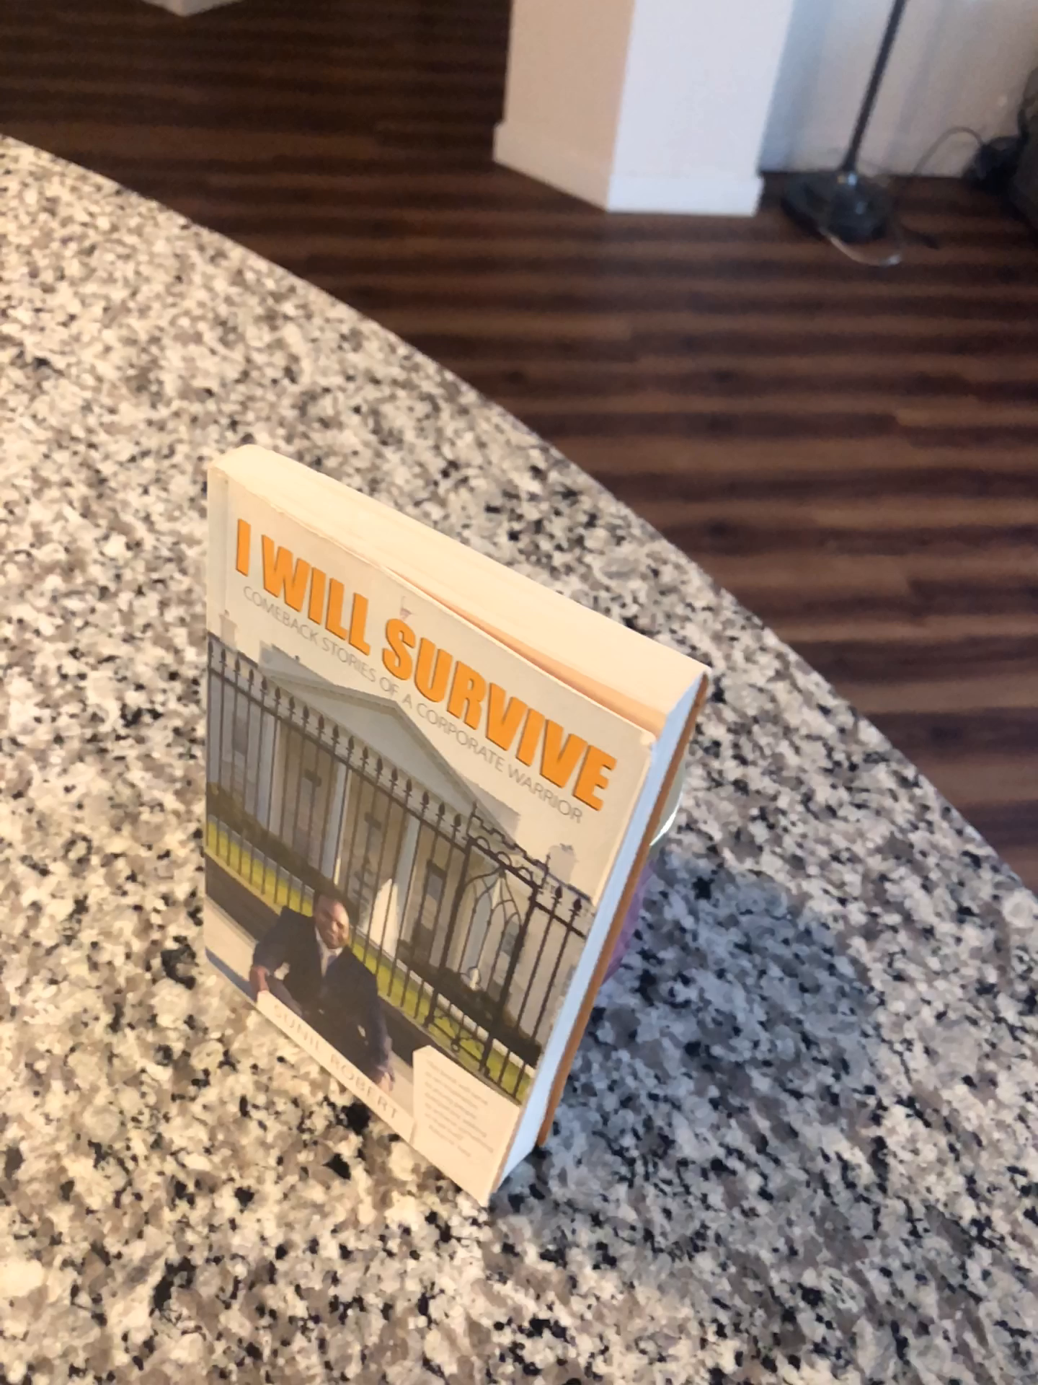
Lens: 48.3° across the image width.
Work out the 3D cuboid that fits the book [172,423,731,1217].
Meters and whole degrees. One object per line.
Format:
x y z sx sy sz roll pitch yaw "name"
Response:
-0.036 0.044 0.318 0.134 0.191 0.032 31 42 20 "book"
